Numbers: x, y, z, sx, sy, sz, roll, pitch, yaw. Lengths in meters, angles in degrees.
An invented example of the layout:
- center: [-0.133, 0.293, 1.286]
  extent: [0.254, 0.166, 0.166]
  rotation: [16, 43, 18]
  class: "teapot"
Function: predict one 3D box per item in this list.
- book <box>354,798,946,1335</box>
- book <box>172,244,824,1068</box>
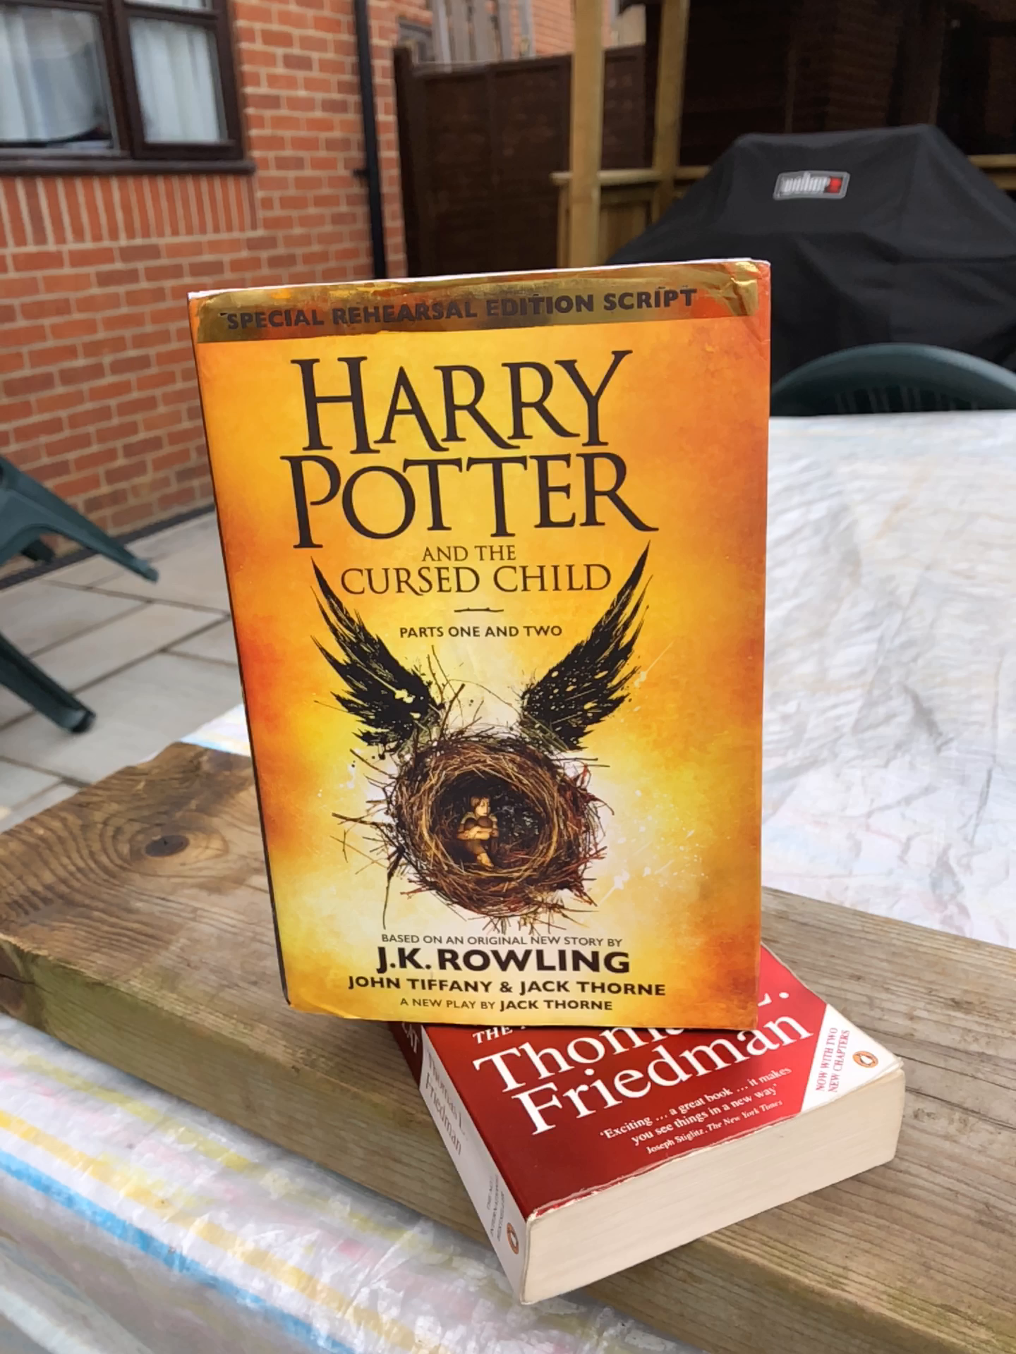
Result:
- center: [0.034, 0.115, 0.398]
  extent: [0.130, 0.040, 0.191]
  rotation: [-10, 23, -19]
  class: "book"
- center: [-0.001, -0.002, 0.345]
  extent: [0.170, 0.239, 0.040]
  rotation: [2, 18, 9]
  class: "book"
